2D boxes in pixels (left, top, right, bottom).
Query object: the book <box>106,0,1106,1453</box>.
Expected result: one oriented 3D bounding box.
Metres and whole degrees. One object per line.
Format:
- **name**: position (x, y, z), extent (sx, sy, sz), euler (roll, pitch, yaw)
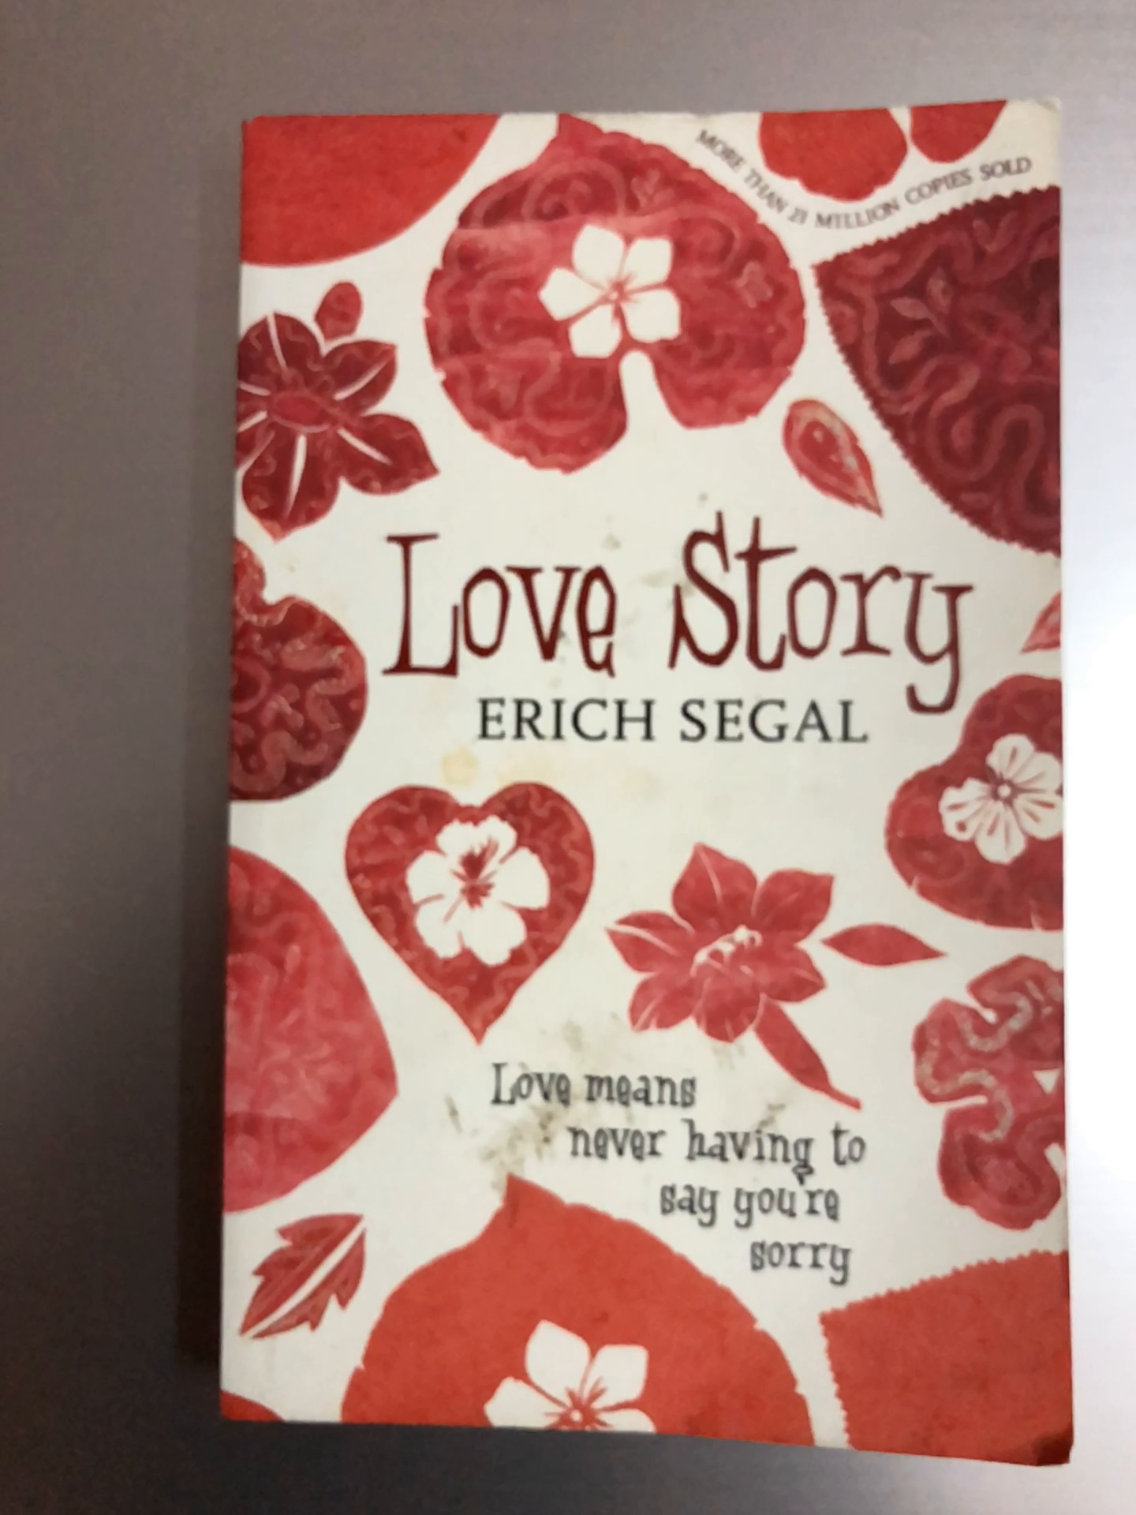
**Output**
- **book**: position (0.005, -0.007, 0.175), extent (0.120, 0.030, 0.180), euler (0, 87, 1)
